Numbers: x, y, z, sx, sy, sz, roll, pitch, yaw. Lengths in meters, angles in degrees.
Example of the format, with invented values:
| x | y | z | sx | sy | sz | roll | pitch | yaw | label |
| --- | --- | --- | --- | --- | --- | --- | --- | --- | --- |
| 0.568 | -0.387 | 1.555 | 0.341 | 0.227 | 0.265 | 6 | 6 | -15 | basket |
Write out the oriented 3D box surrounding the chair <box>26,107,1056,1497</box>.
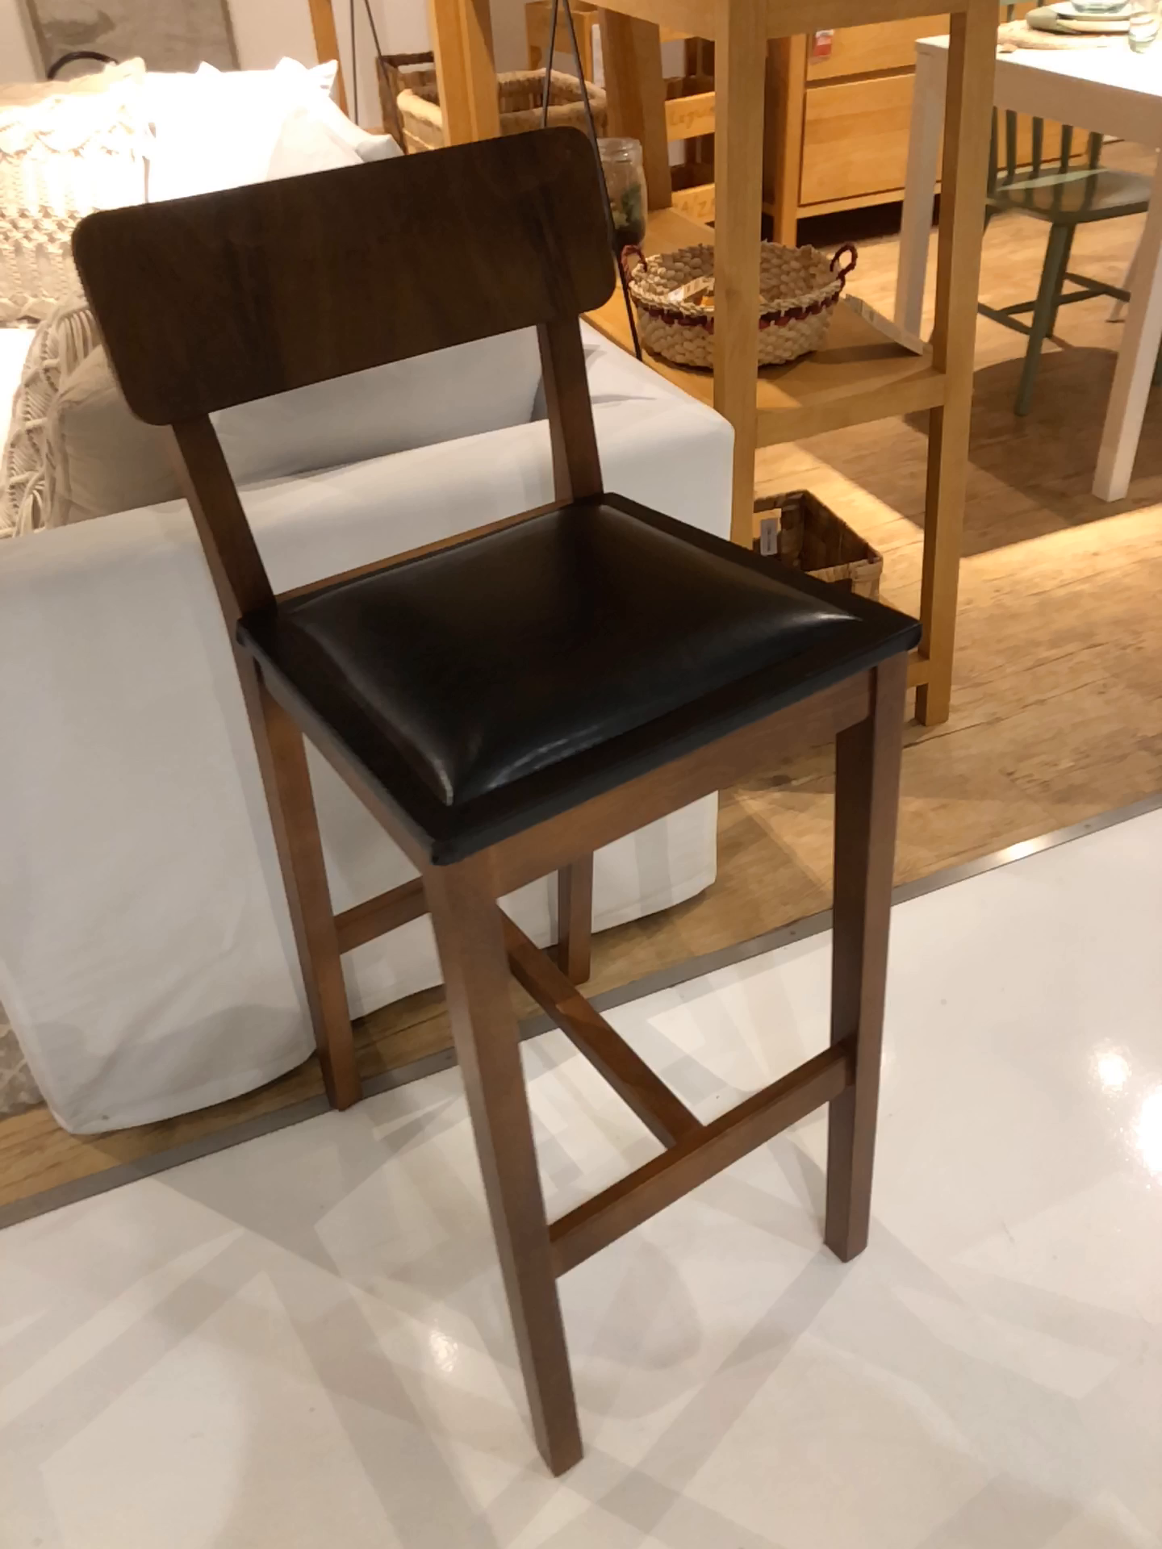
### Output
| x | y | z | sx | sy | sz | roll | pitch | yaw | label |
| --- | --- | --- | --- | --- | --- | --- | --- | --- | --- |
| -0.034 | 0.041 | 1.118 | 0.441 | 1.002 | 0.533 | -25 | 42 | -25 | chair |
